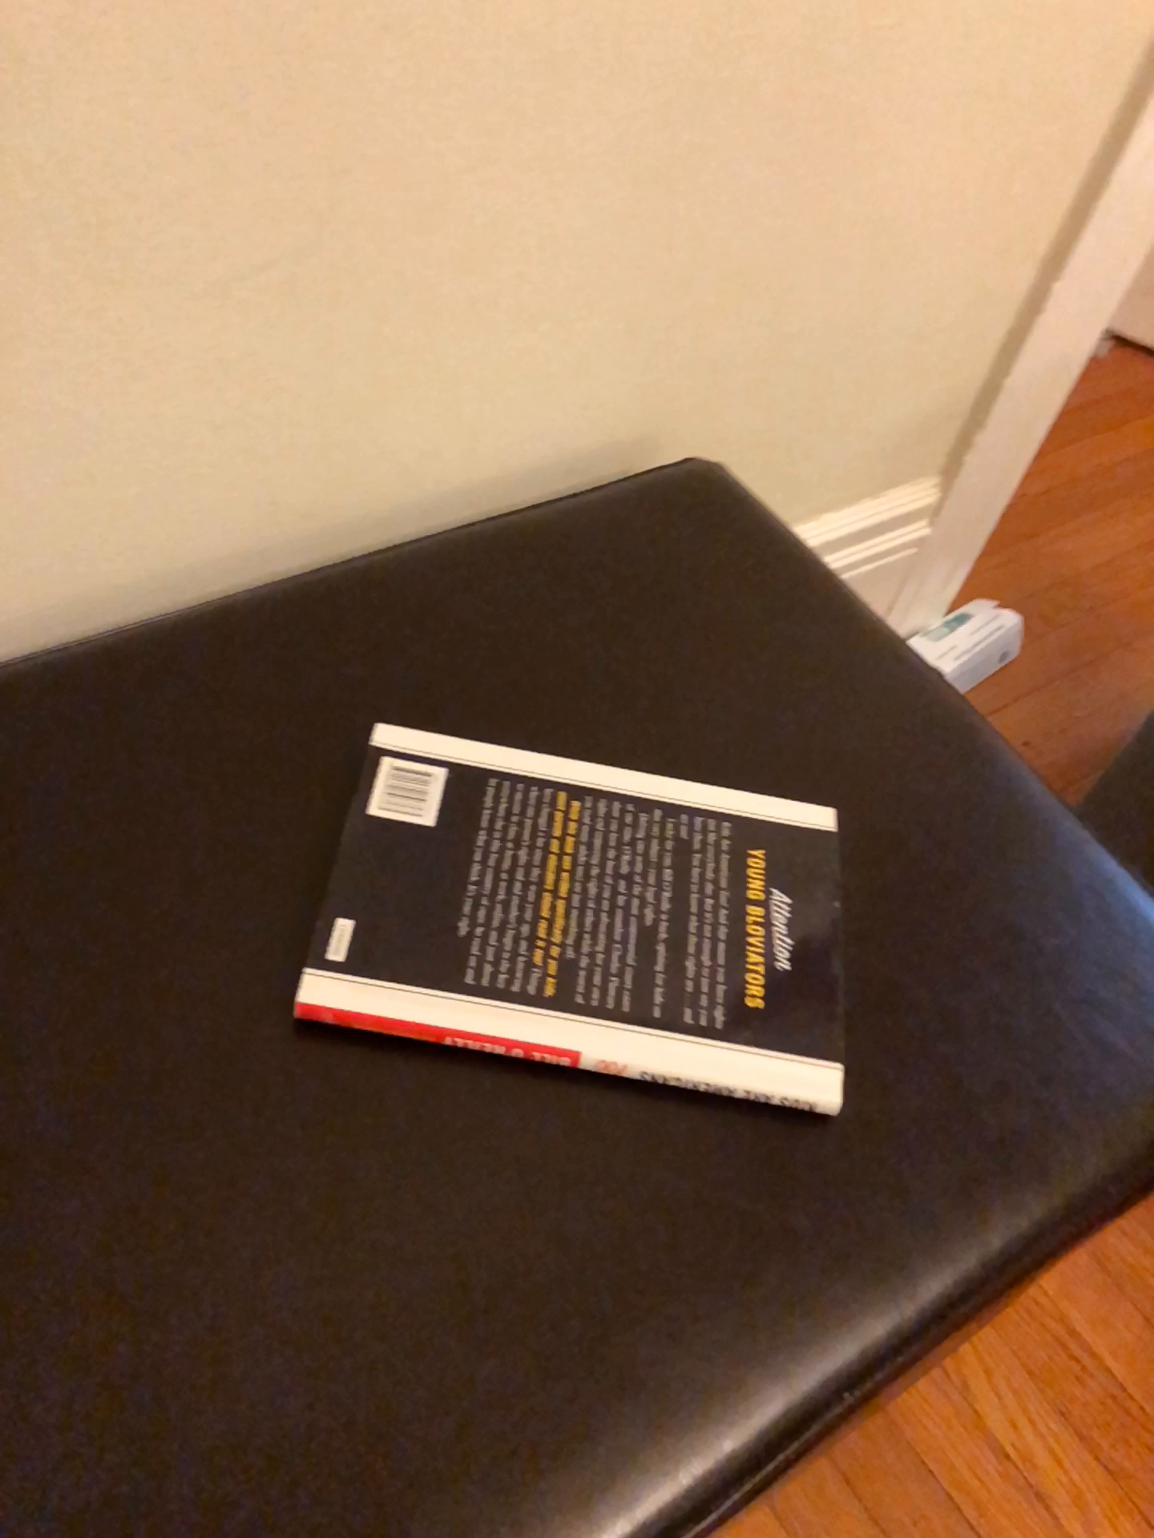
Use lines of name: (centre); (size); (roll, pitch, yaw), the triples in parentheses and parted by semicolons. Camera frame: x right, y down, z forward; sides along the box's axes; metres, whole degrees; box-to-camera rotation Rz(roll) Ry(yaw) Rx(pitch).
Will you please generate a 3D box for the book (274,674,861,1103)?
book: (0.005, 0.045, 0.547); (0.230, 0.020, 0.161); (11, 50, -4)
